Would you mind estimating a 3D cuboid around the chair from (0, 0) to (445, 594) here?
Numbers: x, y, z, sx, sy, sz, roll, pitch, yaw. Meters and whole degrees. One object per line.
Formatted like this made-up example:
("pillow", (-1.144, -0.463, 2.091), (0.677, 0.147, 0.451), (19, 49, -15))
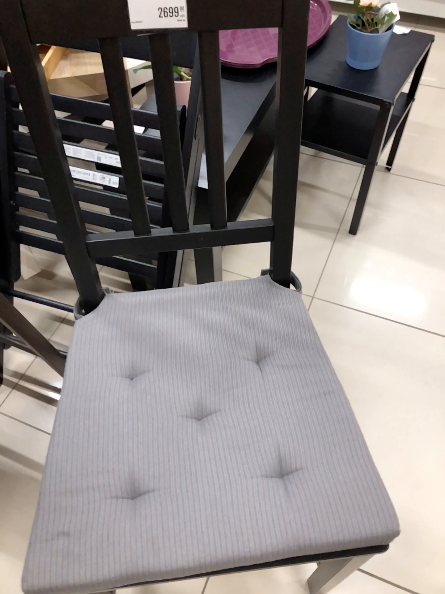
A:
("chair", (-0.034, 0.132, 0.685), (0.410, 0.895, 0.493), (-6, 53, -3))
